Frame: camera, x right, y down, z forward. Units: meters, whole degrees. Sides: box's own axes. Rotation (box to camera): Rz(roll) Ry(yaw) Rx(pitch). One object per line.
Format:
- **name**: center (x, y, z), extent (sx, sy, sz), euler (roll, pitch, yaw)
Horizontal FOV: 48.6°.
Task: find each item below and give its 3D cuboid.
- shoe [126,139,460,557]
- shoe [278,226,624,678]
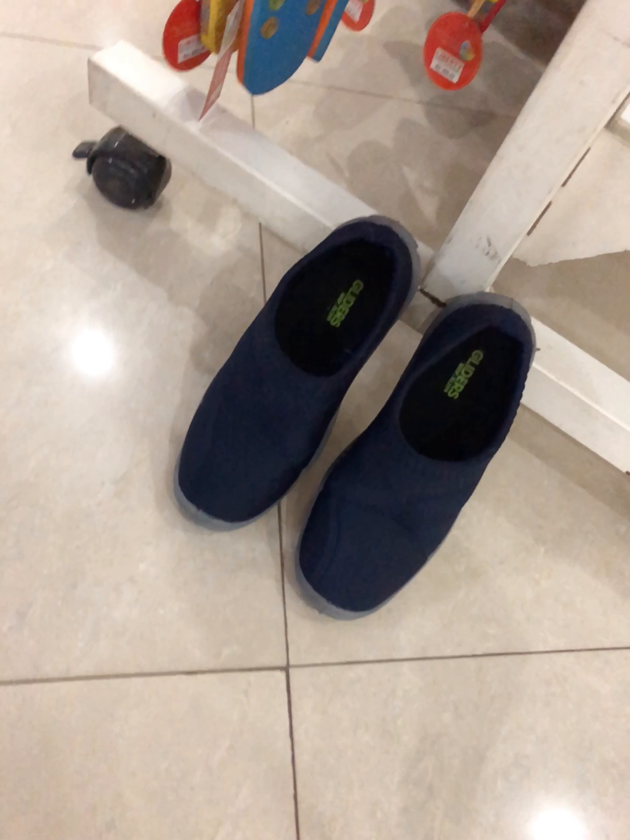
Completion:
- **shoe**: center (-0.022, -0.079, 0.883), extent (0.160, 0.200, 0.460), euler (31, 84, 2)
- **shoe**: center (0.163, 0.040, 0.898), extent (0.186, 0.208, 0.489), euler (29, 83, 6)
